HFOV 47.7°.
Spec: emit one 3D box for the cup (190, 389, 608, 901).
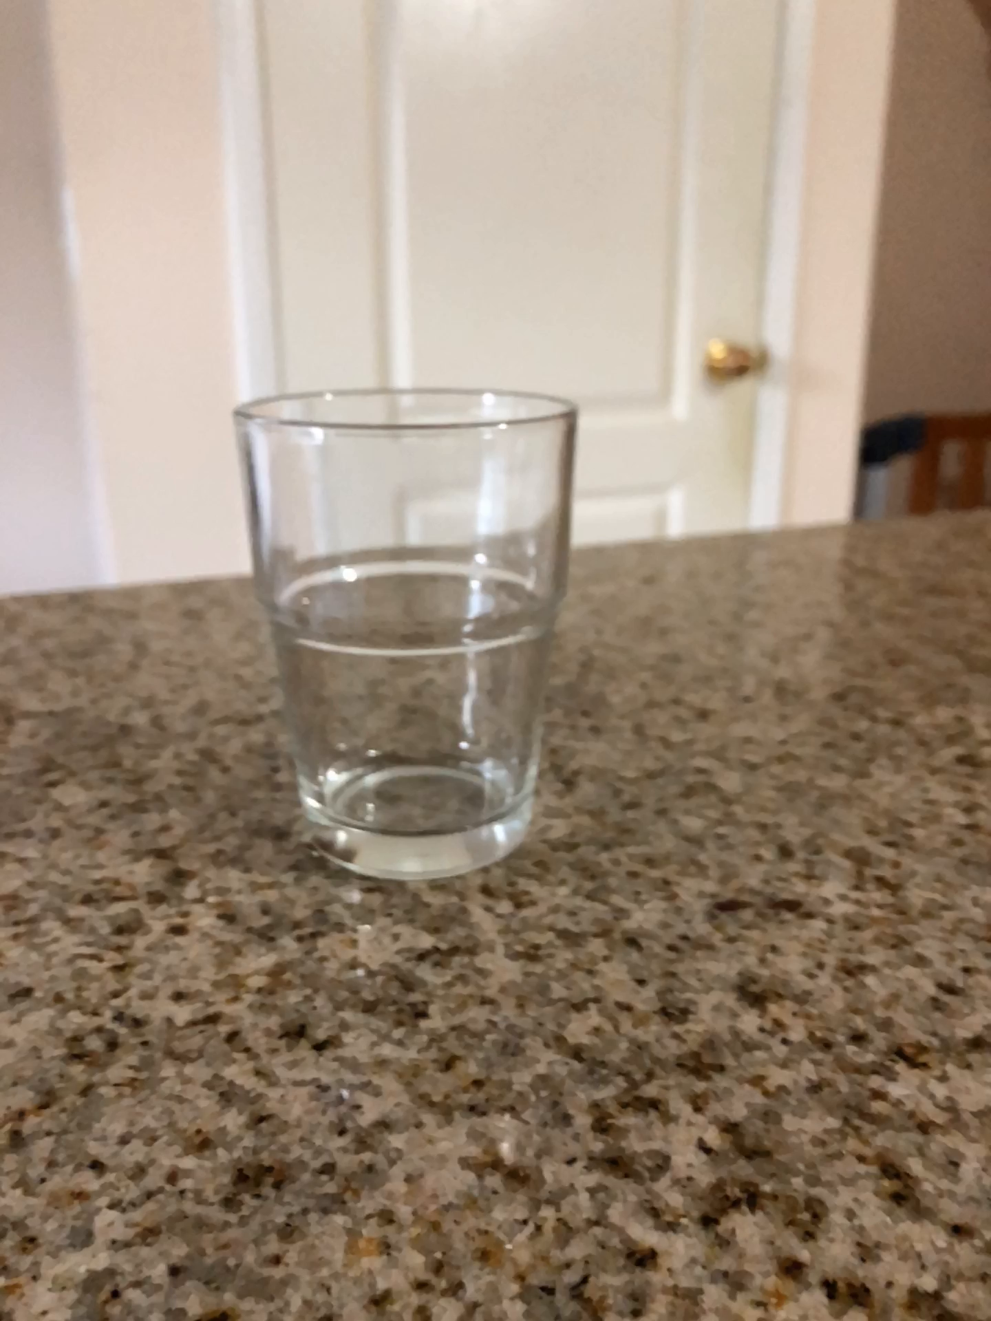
[{"bbox_3d":[-0.018,-0.010,0.269,0.070,0.100,0.070,0,18,0],"label":"cup"}]
